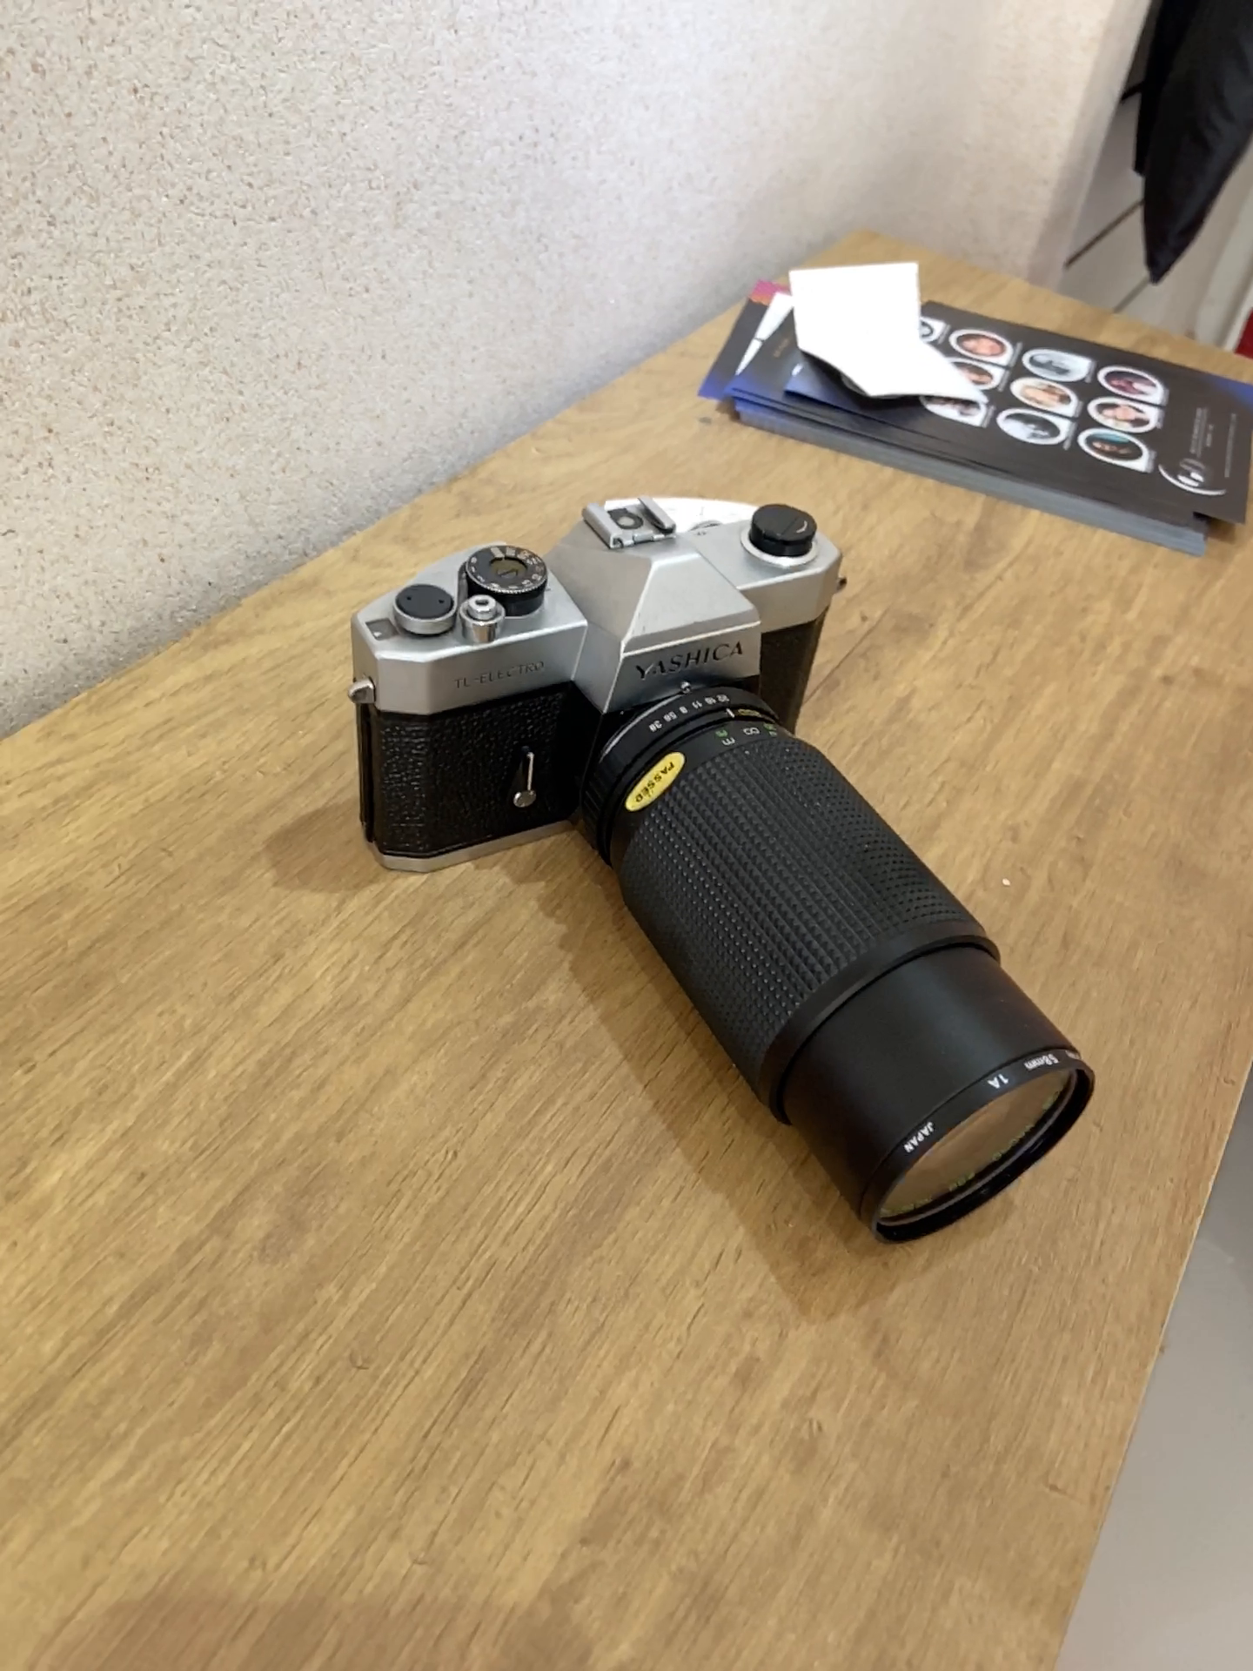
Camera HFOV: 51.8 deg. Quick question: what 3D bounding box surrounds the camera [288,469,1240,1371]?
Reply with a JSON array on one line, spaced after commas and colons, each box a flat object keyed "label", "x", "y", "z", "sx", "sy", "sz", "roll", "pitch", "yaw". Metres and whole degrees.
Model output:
[{"label": "camera", "x": 0.015, "y": 0.000, "z": 0.332, "sx": 0.150, "sy": 0.080, "sz": 0.201, "roll": -14, "pitch": 48, "yaw": -21}]
